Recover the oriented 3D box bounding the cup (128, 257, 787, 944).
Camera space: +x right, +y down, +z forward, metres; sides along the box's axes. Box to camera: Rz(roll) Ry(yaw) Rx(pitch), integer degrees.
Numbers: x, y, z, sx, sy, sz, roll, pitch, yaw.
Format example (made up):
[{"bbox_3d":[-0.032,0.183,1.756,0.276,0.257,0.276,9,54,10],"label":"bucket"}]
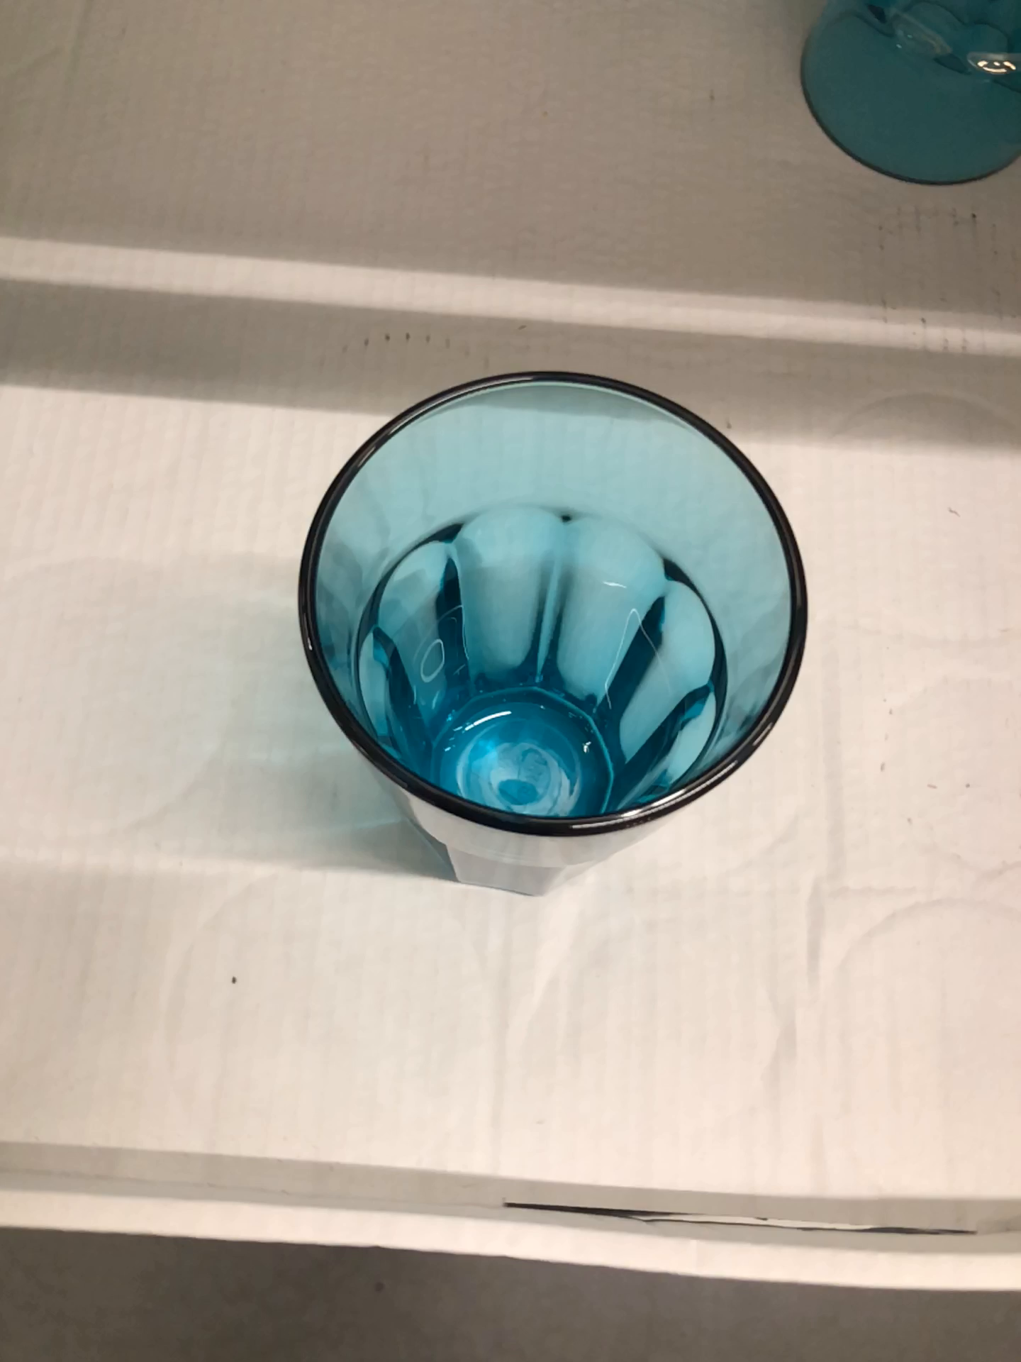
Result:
[{"bbox_3d":[-0.007,-0.005,0.224,0.089,0.102,0.092,1,72,-3],"label":"cup"}]
